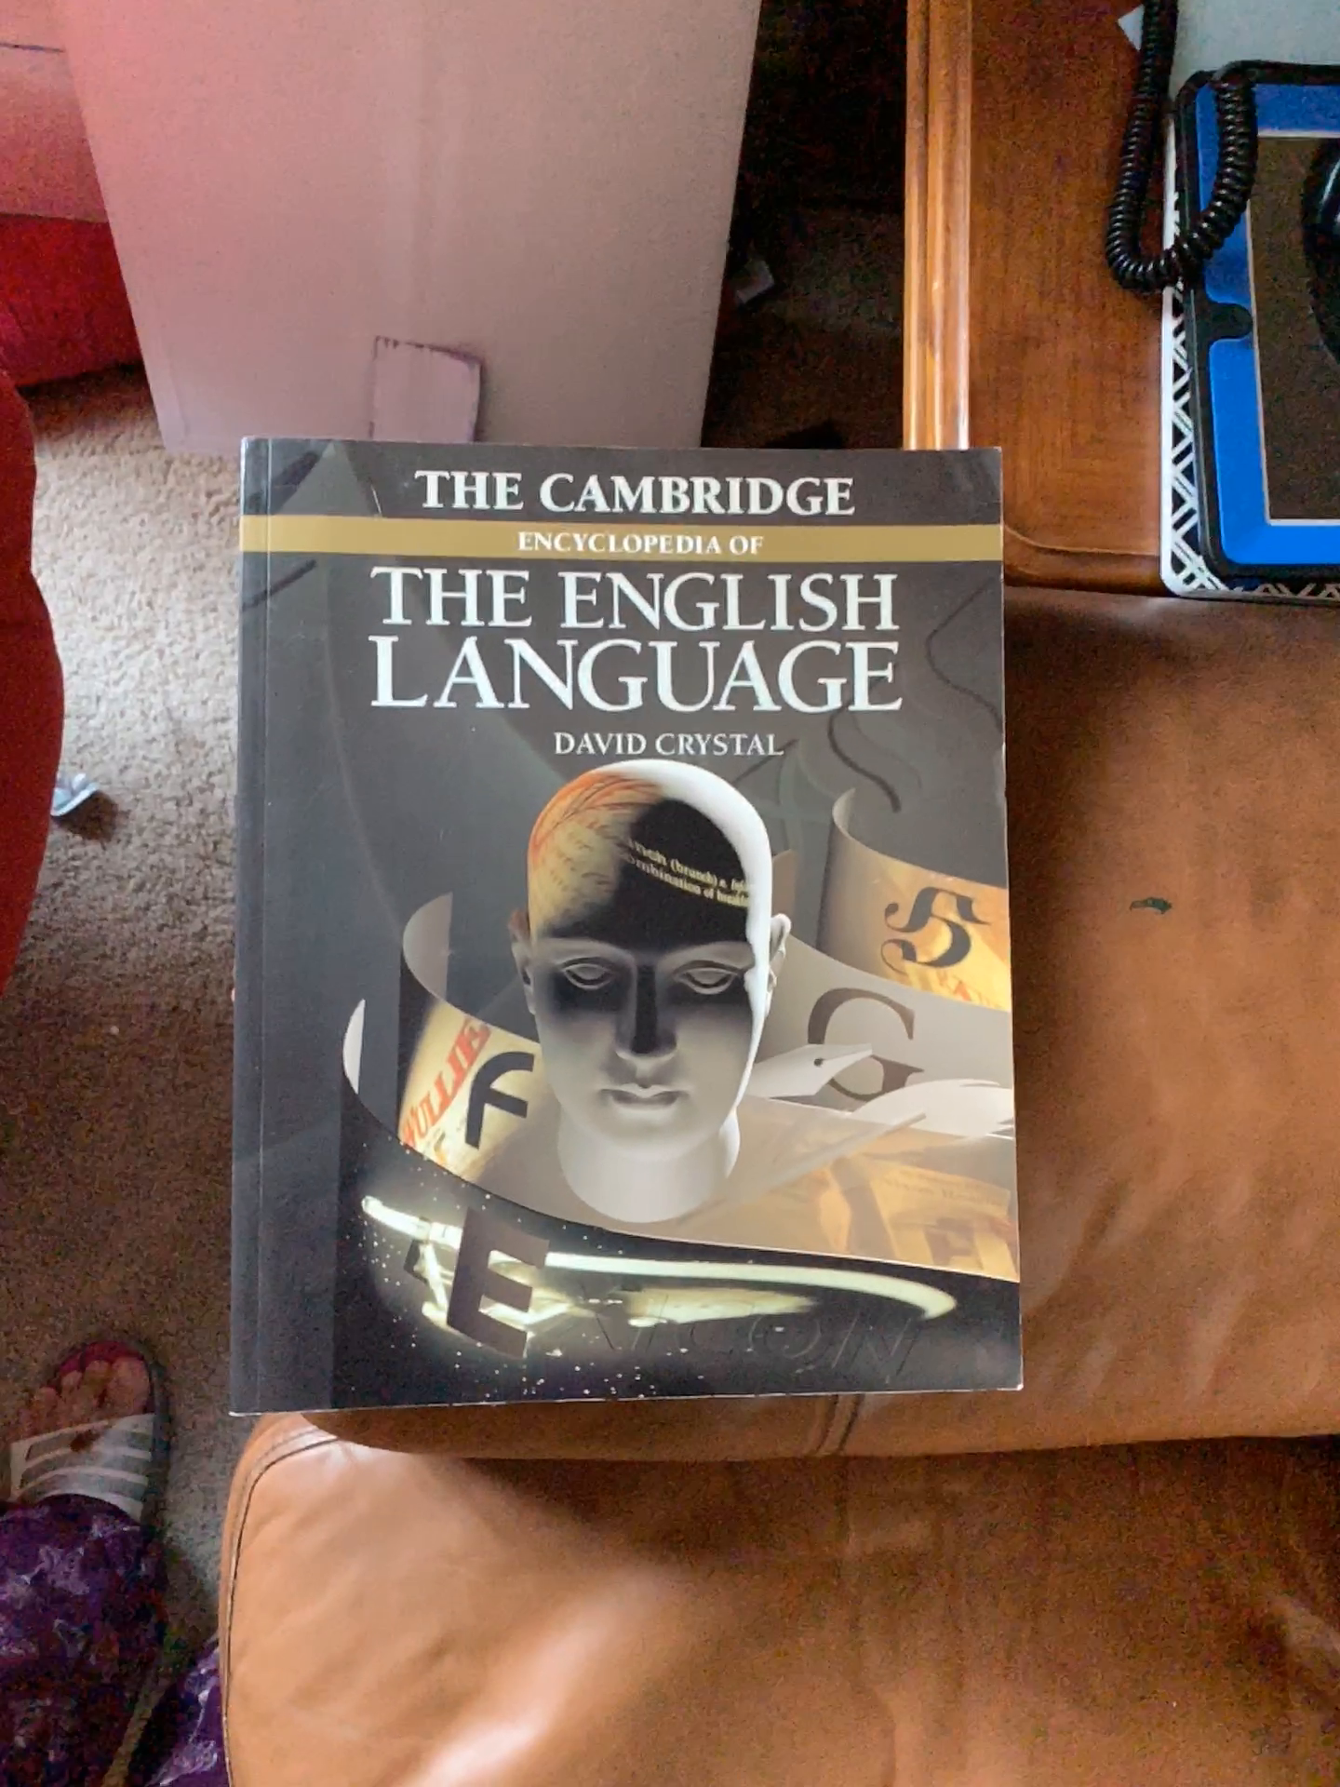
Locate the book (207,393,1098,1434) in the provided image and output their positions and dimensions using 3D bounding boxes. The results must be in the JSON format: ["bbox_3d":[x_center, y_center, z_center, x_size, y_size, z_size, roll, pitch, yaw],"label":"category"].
[{"bbox_3d":[-0.005,0.003,0.406,0.240,0.050,0.280,0,85,-6],"label":"book"}]
